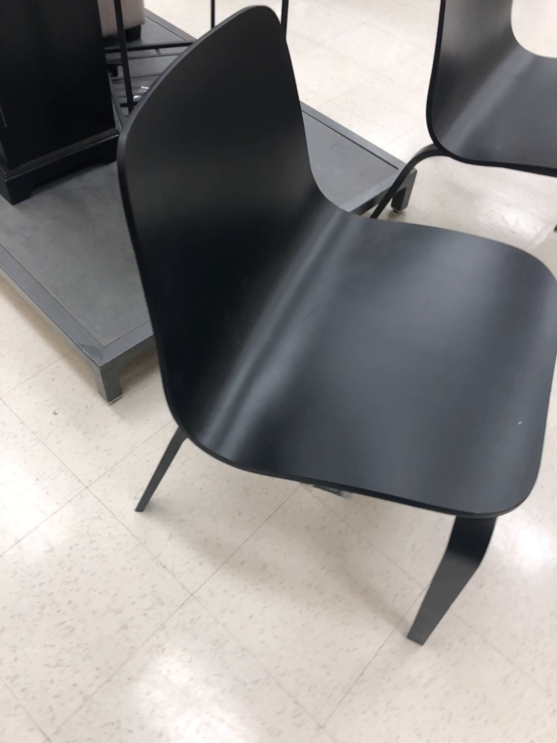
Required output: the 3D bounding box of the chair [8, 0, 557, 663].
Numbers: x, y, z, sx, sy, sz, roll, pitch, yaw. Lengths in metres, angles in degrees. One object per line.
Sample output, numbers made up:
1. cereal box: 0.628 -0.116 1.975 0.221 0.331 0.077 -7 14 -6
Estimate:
1. chair: 0.136 -0.072 0.979 0.630 0.718 0.642 20 53 10
